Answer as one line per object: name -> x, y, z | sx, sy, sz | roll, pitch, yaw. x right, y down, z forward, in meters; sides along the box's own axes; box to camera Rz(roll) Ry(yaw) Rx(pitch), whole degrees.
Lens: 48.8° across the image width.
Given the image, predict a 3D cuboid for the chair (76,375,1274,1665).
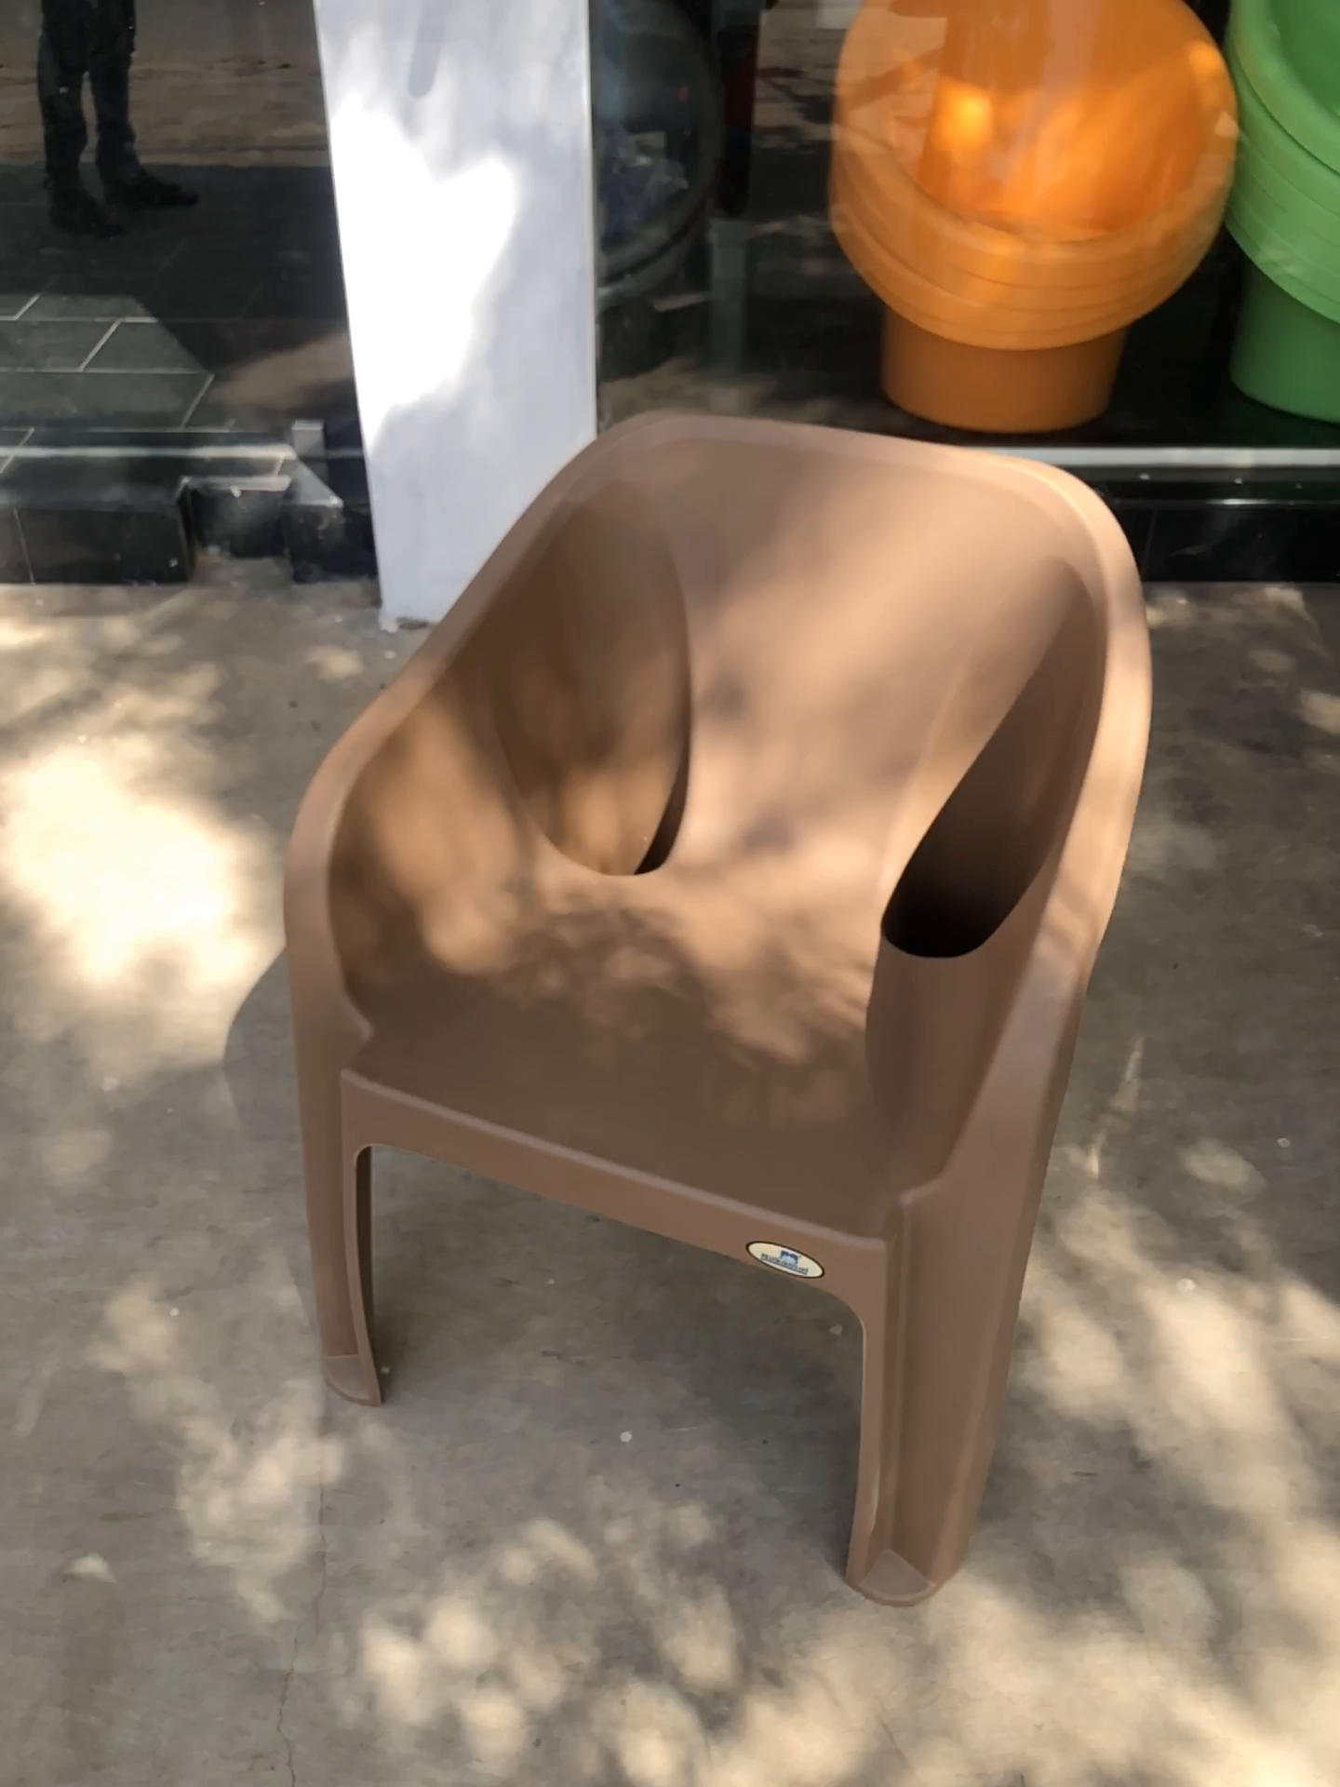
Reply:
chair -> 0.072, 0.038, 1.252 | 0.640, 0.637, 0.724 | 14, 40, 16
